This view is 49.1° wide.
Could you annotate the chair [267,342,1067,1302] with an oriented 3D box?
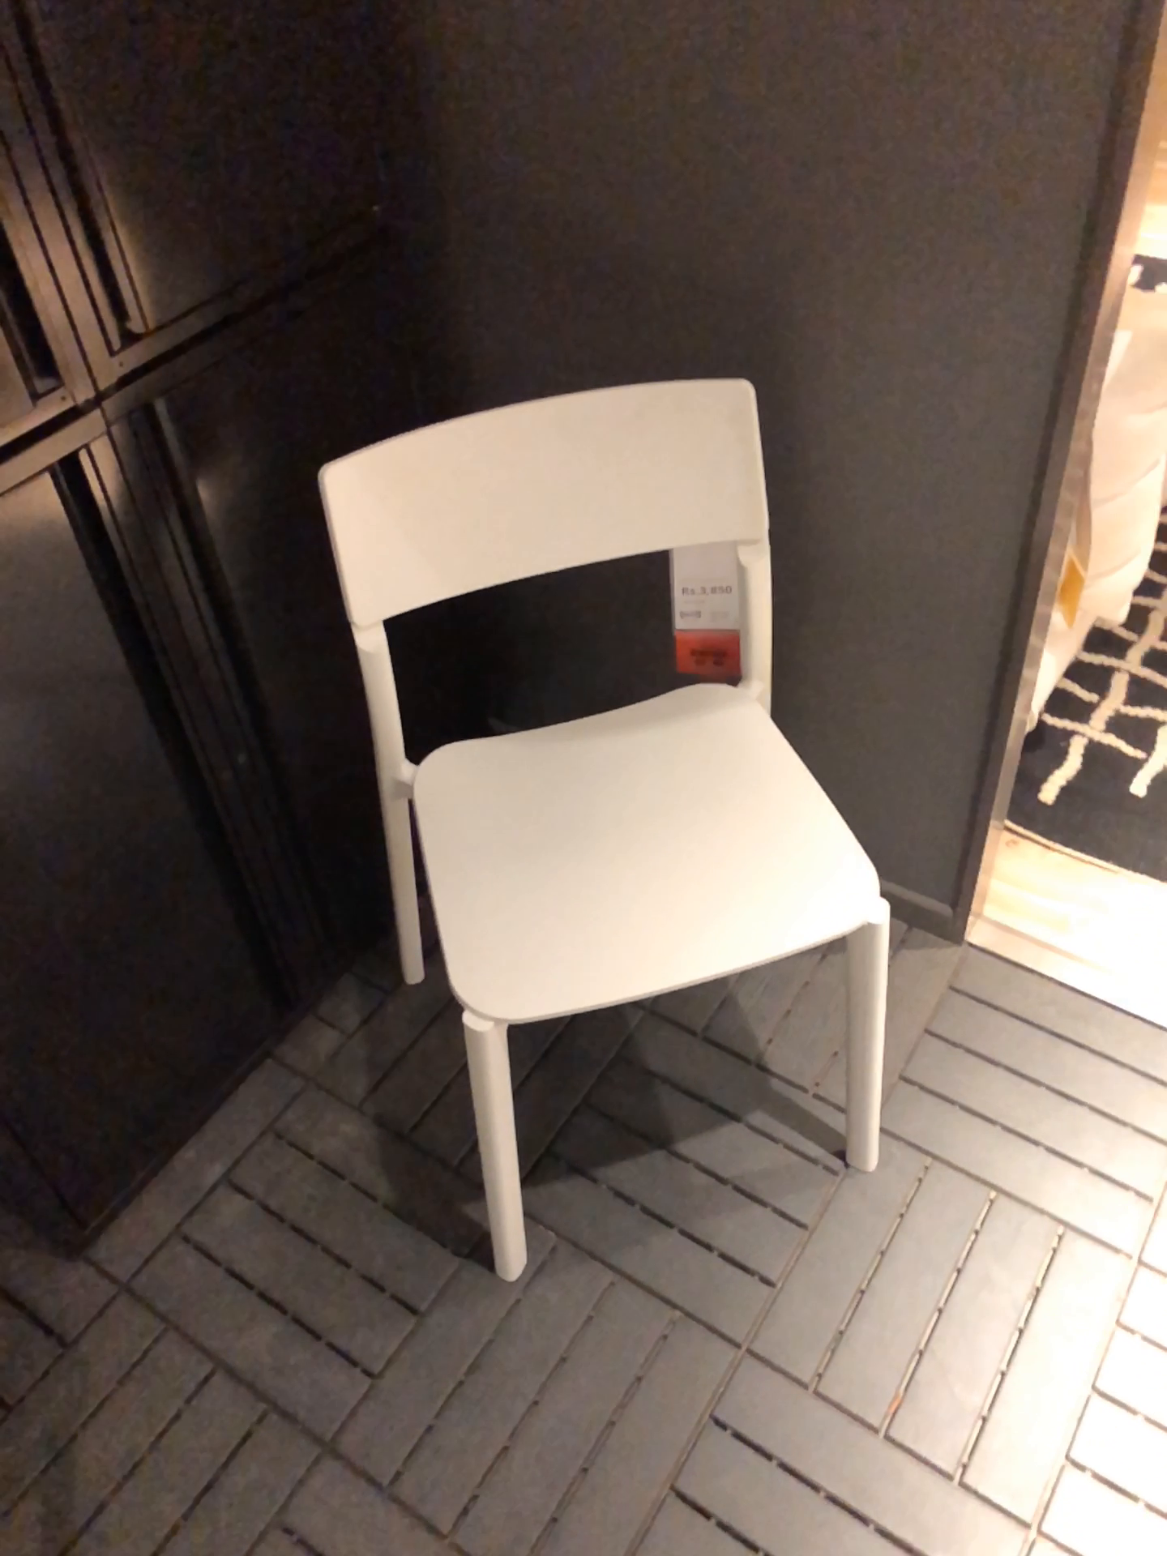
[{"bbox_3d":[0.048,0.057,1.239,0.500,0.705,0.473,-14,44,-9],"label":"chair"}]
